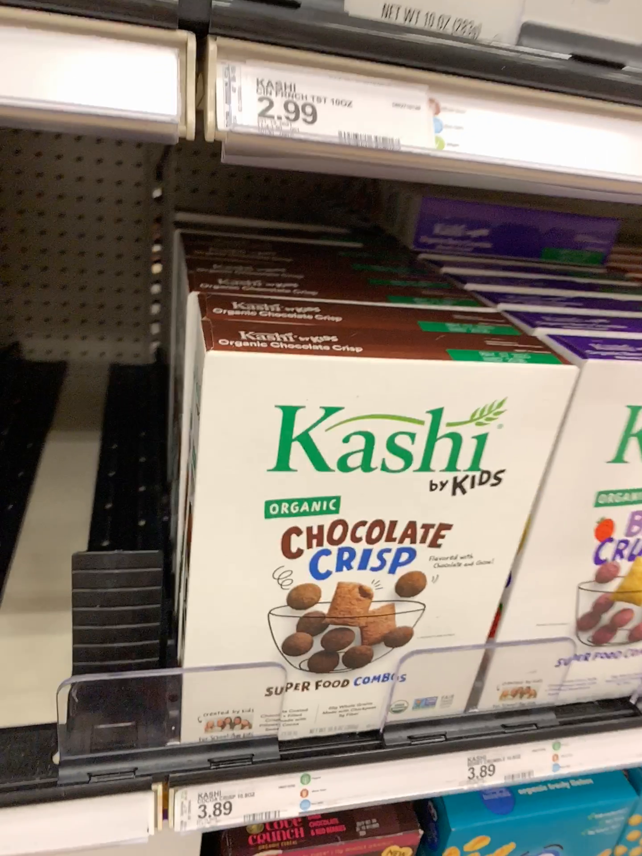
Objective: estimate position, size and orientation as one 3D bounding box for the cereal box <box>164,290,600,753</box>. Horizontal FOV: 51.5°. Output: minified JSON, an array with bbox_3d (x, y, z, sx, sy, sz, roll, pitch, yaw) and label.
[{"bbox_3d":[0.016,0.062,0.383,0.200,0.259,0.060,1,28,-15],"label":"cereal box"}]
